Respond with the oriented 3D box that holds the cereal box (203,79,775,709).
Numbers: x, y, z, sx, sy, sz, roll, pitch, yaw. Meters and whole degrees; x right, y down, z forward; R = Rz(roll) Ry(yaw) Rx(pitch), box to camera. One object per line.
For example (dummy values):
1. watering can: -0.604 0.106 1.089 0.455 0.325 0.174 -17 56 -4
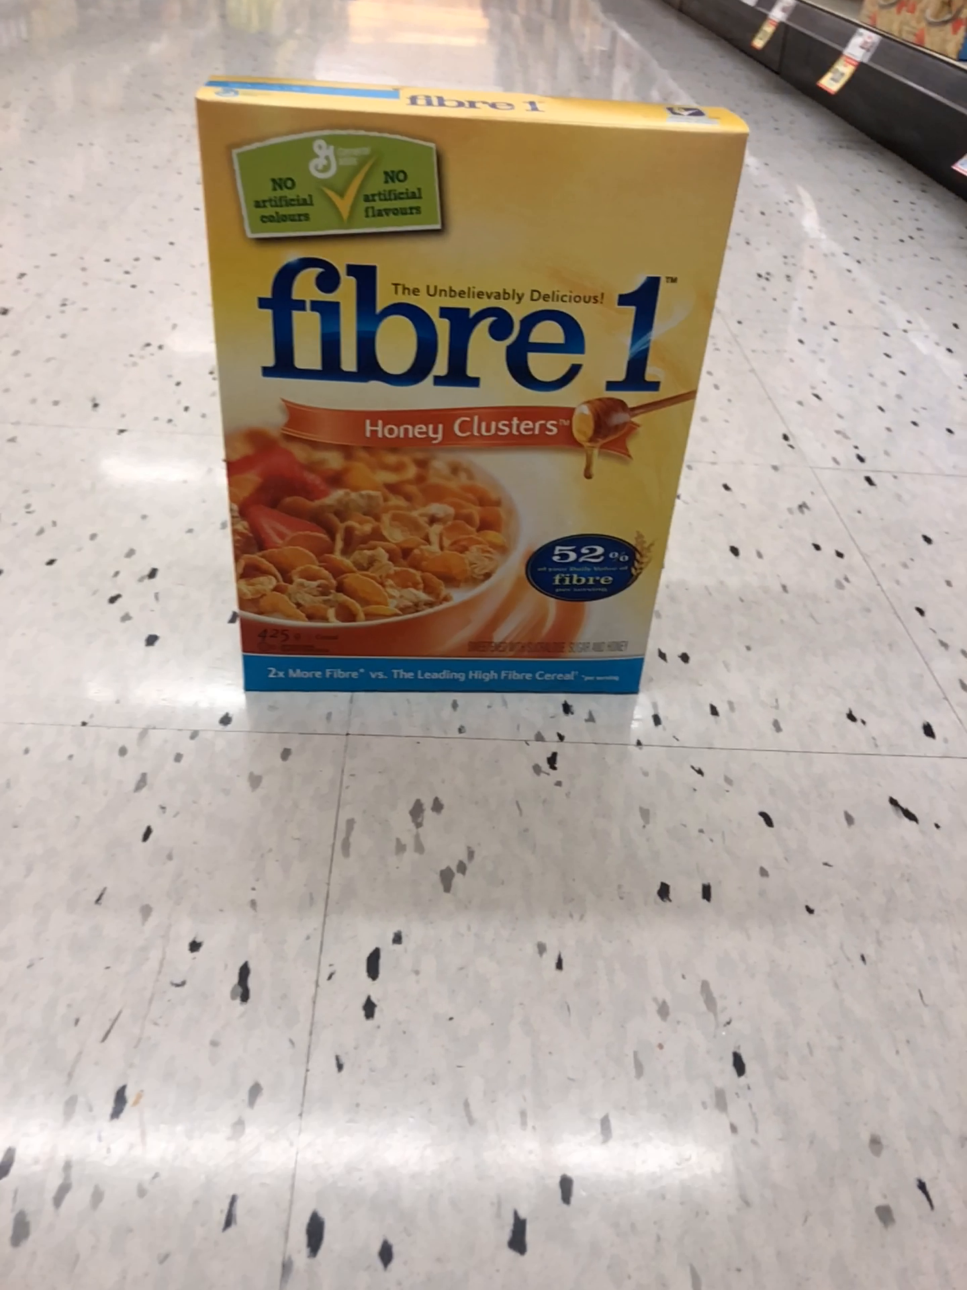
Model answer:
1. cereal box: -0.007 -0.086 0.444 0.190 0.248 0.050 1 36 -6
